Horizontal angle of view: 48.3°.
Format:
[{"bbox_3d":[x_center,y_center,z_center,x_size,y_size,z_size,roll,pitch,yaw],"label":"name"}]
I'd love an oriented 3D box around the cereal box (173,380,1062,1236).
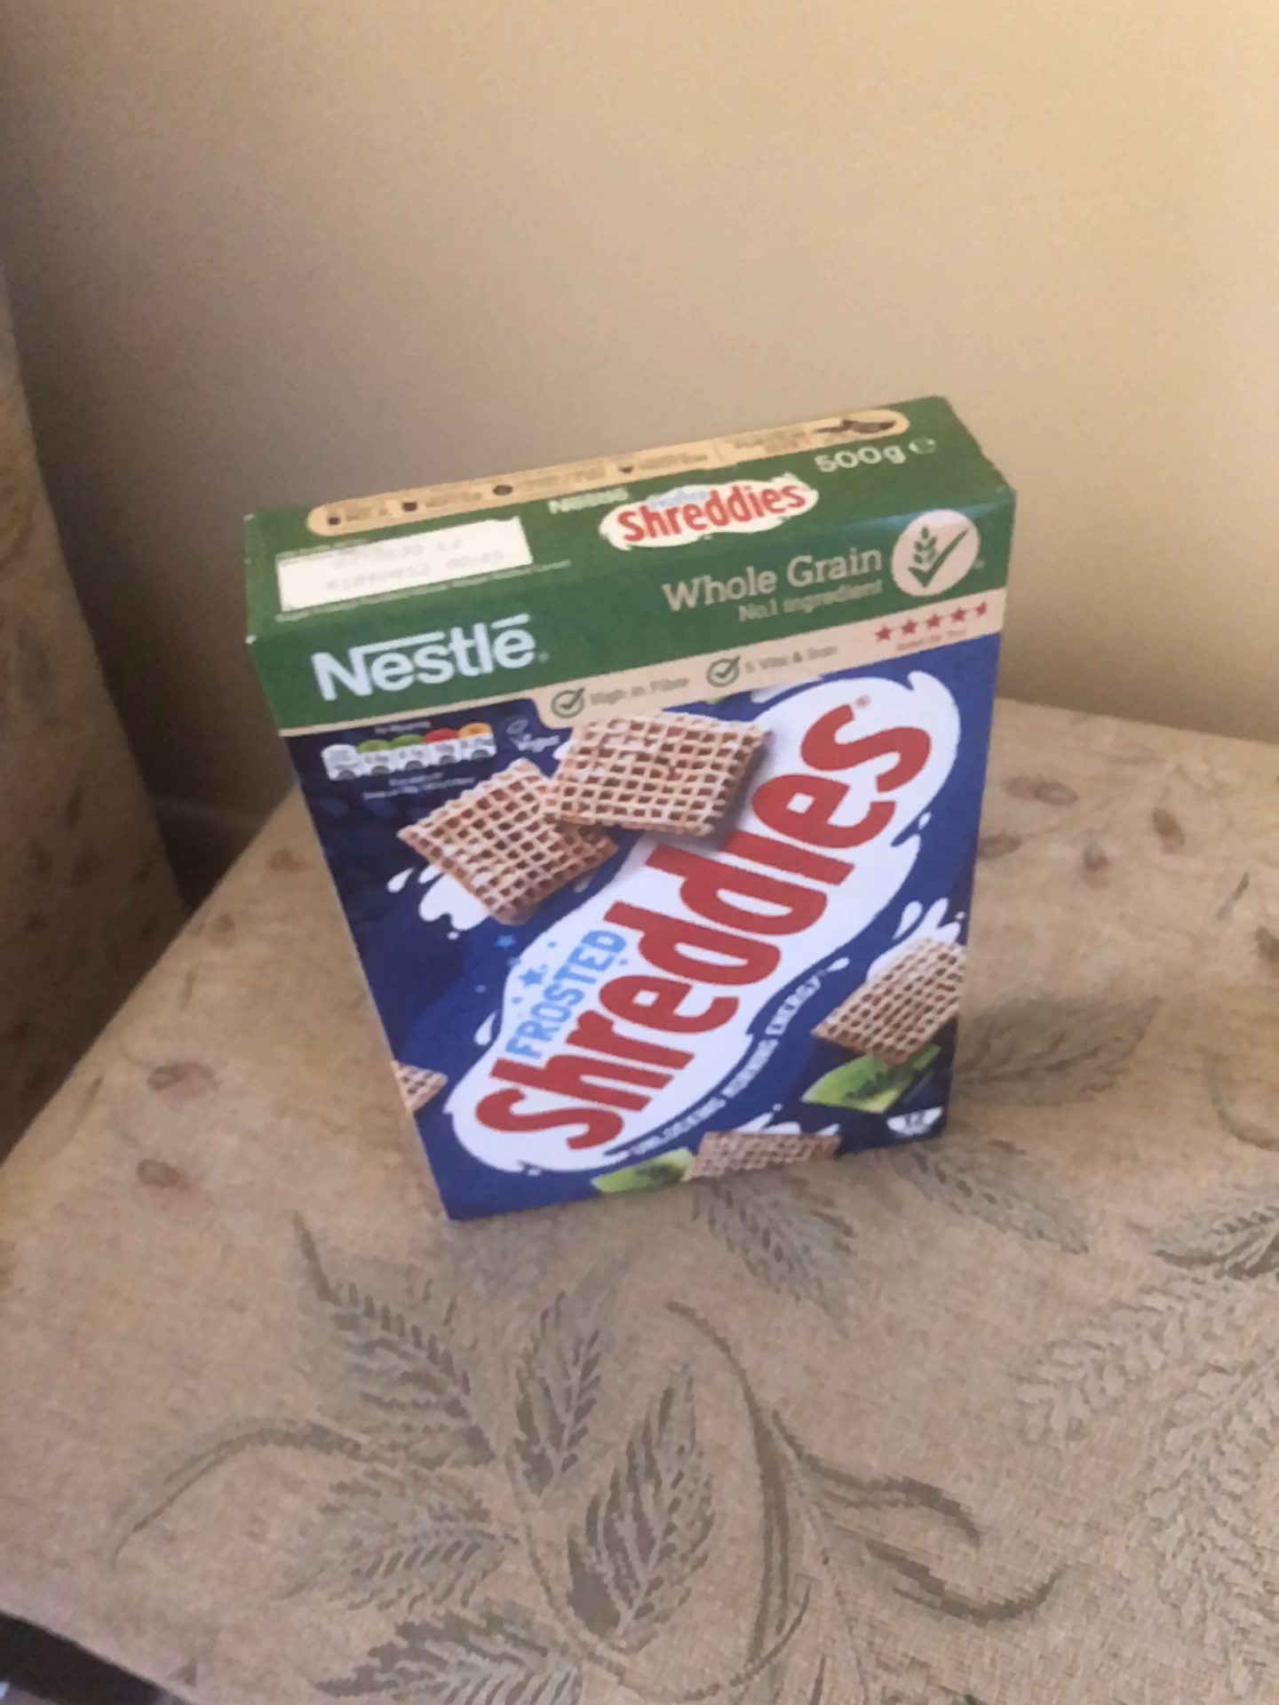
[{"bbox_3d":[0.002,0.006,0.431,0.200,0.258,0.060,-10,46,-3],"label":"cereal box"}]
